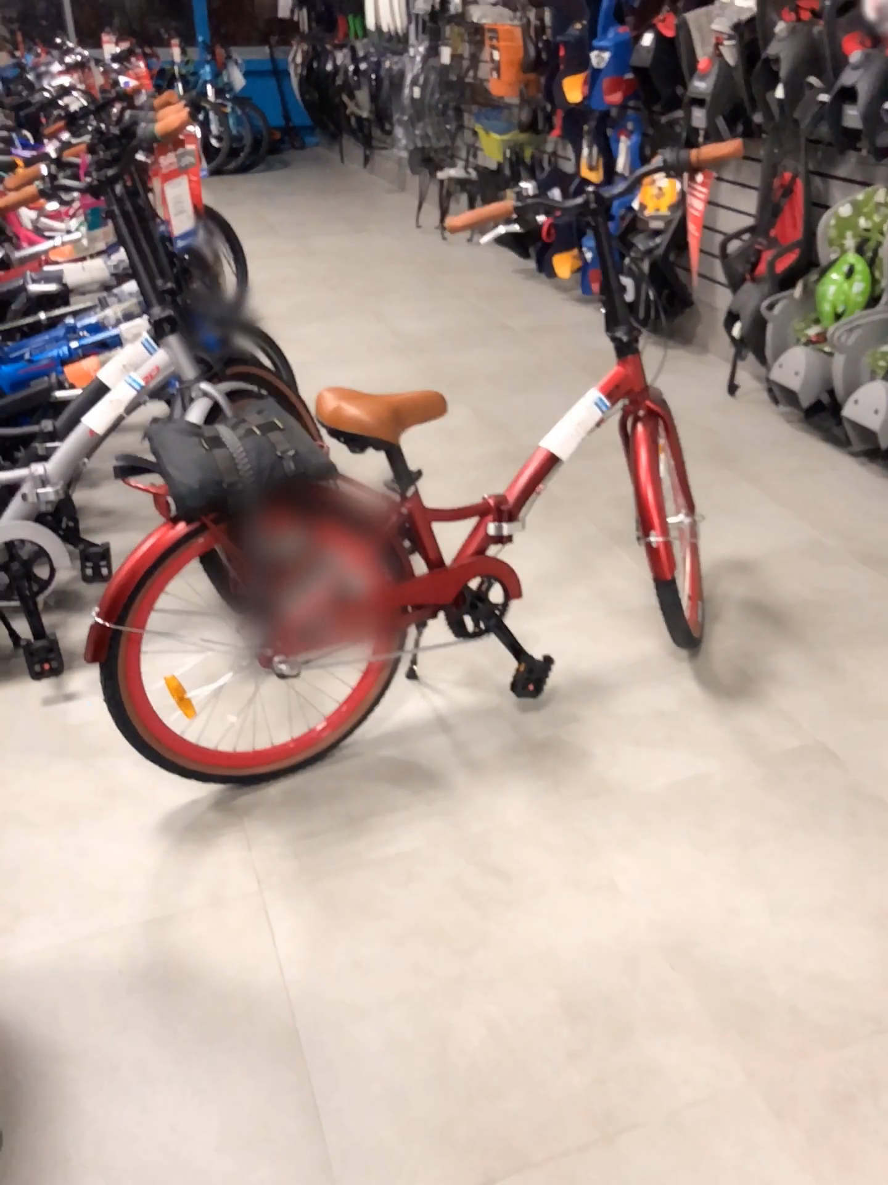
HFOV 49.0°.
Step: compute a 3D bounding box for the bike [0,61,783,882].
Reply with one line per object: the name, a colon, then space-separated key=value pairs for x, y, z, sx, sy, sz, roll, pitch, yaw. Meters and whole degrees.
bike: x=-0.034 y=-0.377 z=2.032 sx=1.498 sy=1.111 sz=0.518 roll=-26 pitch=38 yaw=-32
